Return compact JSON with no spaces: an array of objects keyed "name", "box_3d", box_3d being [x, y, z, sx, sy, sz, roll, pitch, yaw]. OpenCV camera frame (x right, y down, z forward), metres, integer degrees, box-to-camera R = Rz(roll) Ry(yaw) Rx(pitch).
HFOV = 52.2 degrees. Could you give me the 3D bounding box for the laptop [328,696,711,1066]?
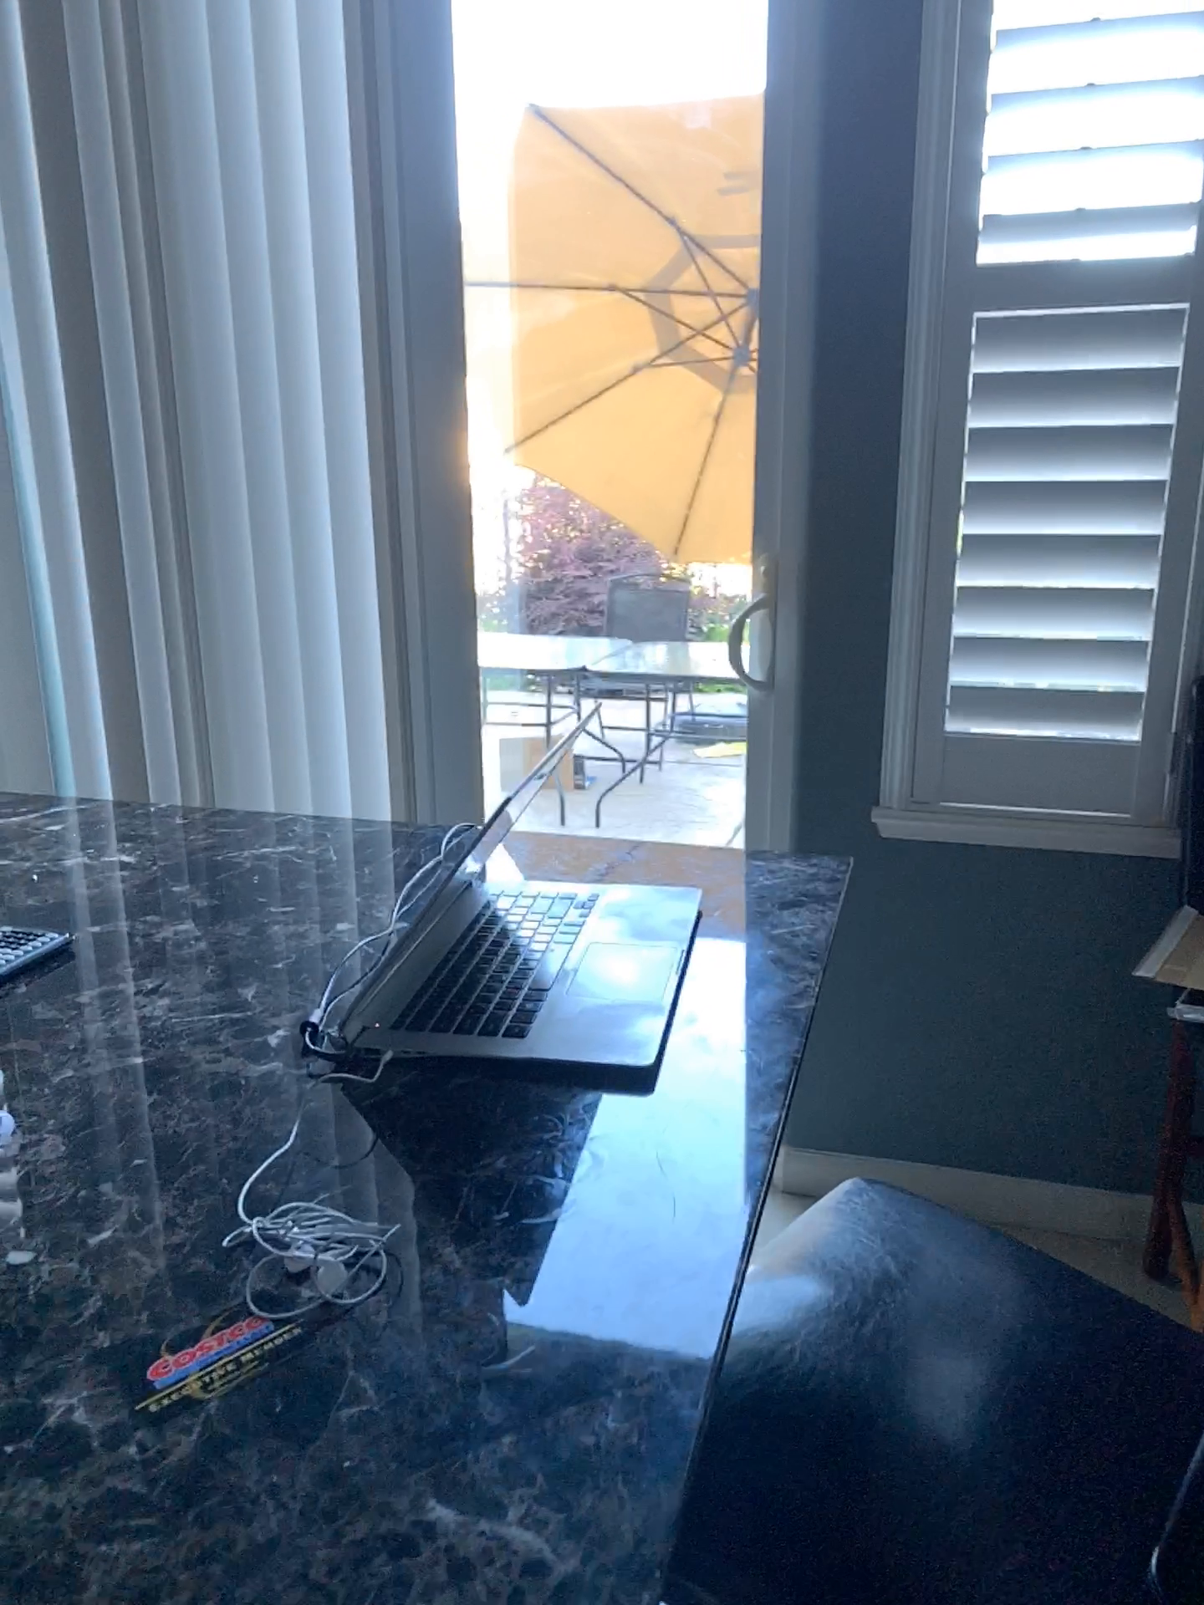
[{"name":"laptop","box_3d":[-0.044,0.041,1.041,0.233,0.188,0.363,3,16,10]}]
